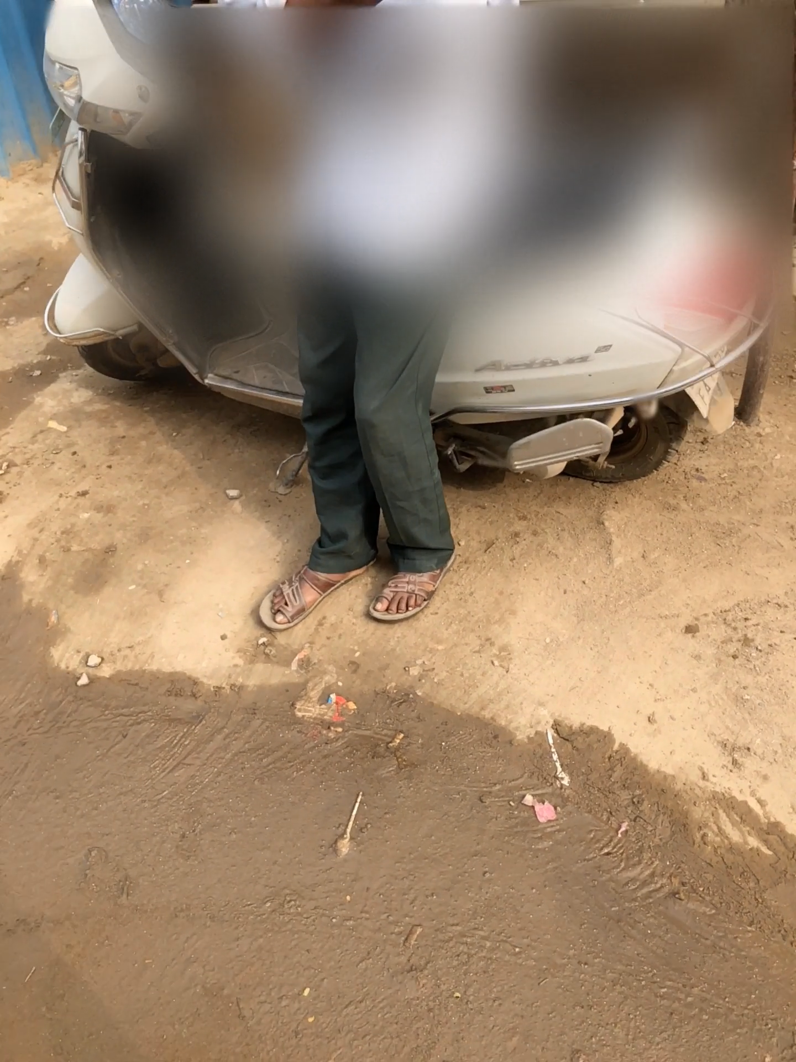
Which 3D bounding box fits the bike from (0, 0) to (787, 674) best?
[{"bbox_3d":[-0.230,-0.496,1.744,1.575,1.113,0.660,11,43,20],"label":"bike"}]
